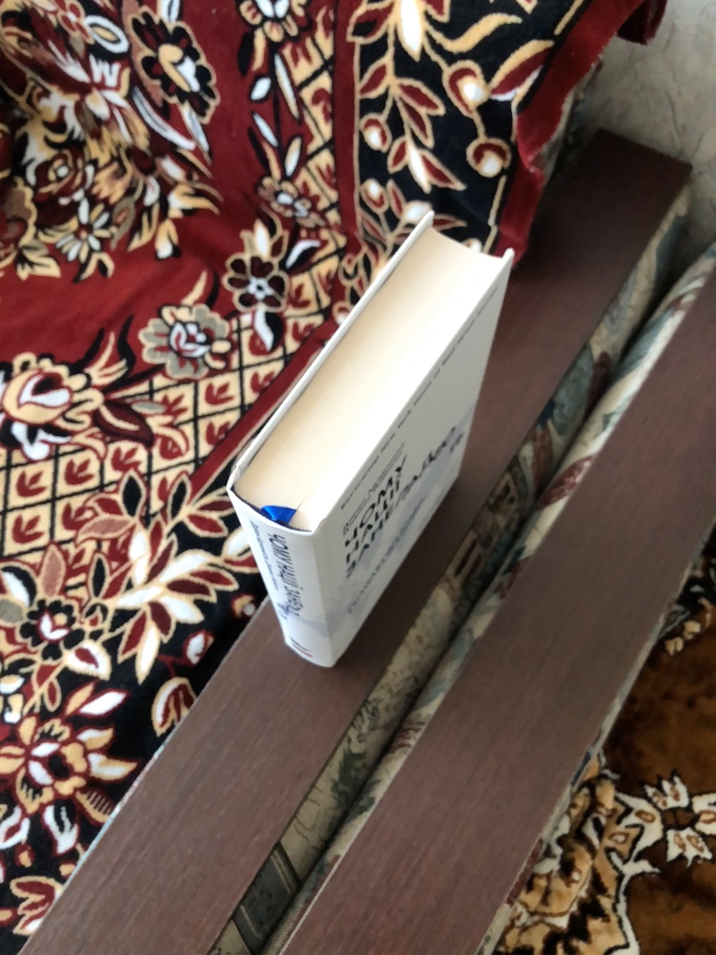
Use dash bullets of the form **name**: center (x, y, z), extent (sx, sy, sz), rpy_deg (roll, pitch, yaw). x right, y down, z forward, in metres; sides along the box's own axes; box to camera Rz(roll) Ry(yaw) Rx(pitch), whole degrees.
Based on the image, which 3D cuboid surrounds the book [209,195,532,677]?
- **book**: center (0.011, 0.000, 0.383), extent (0.042, 0.213, 0.151), rpy_deg (30, 69, 14)
